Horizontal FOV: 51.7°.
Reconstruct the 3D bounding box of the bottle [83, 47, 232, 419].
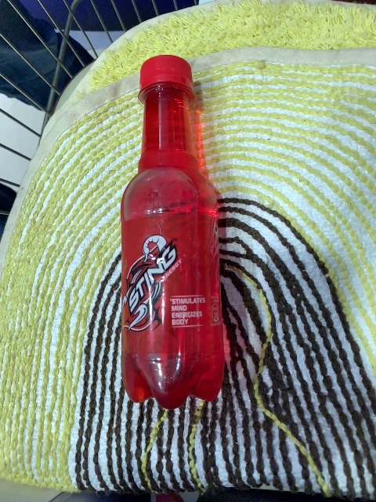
[{"bbox_3d":[-0.015,-0.008,0.202,0.060,0.040,0.170,-5,84,13],"label":"bottle"}]
